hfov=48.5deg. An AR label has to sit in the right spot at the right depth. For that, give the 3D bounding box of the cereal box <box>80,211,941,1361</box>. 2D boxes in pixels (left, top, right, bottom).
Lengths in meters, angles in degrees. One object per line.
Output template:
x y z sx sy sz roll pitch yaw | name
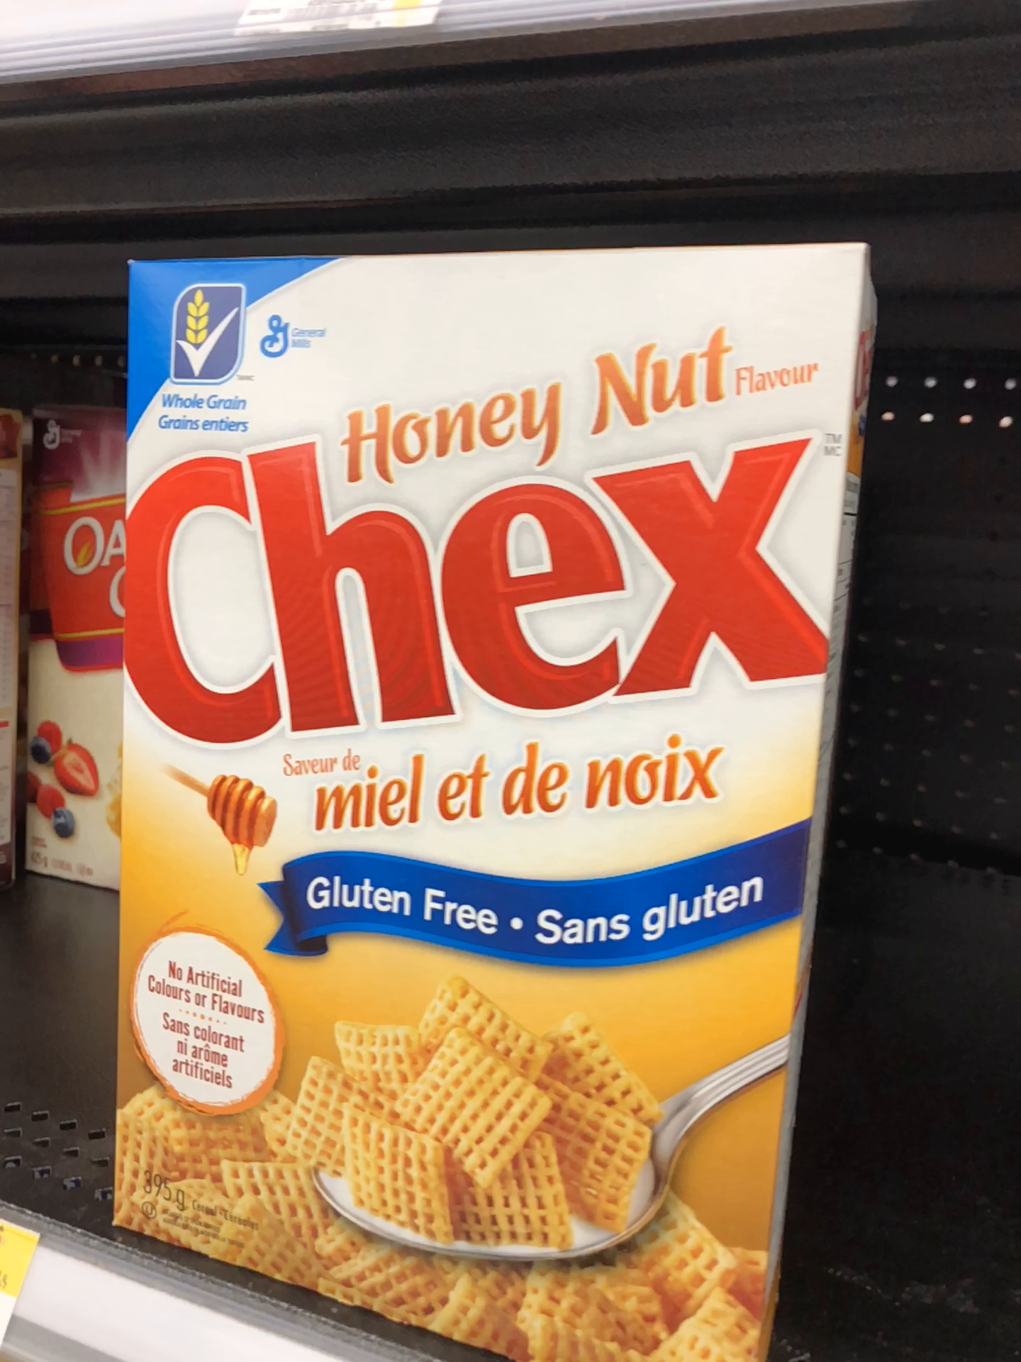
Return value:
-0.012 0.029 0.306 0.210 0.279 0.050 7 8 21 | cereal box
